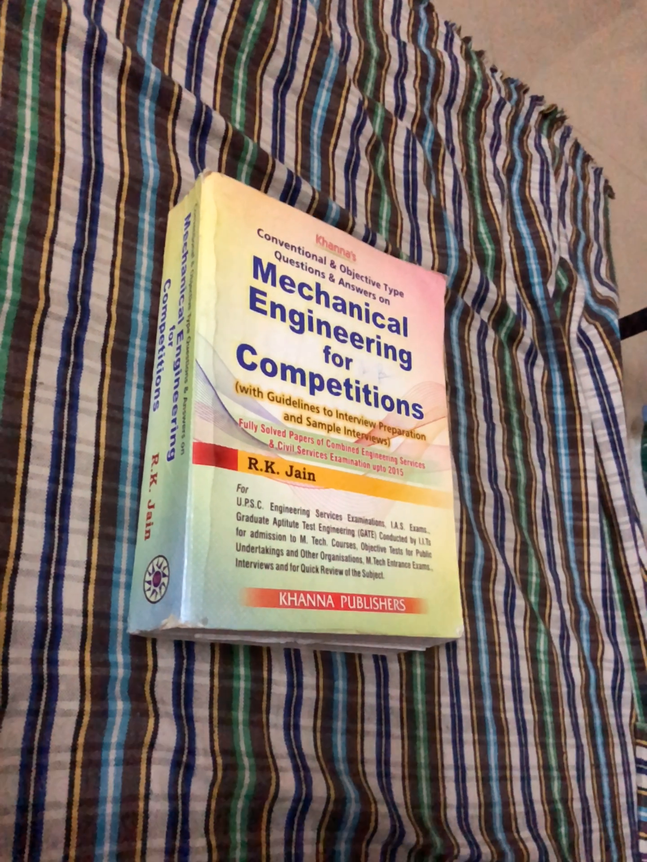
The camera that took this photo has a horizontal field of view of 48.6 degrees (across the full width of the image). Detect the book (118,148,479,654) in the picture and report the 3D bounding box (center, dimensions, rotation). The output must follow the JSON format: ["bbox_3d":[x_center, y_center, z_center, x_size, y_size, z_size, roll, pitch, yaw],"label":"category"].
[{"bbox_3d":[-0.006,-0.004,0.471,0.211,0.077,0.280,16,64,-37],"label":"book"}]
